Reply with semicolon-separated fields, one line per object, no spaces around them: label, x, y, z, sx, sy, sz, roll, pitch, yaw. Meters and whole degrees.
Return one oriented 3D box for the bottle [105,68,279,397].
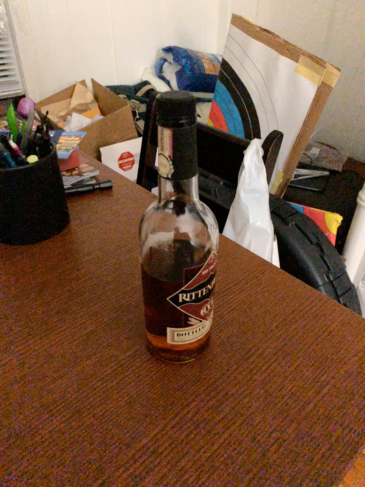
bottle;0.007;0.005;0.353;0.090;0.288;0.090;0;36;0
